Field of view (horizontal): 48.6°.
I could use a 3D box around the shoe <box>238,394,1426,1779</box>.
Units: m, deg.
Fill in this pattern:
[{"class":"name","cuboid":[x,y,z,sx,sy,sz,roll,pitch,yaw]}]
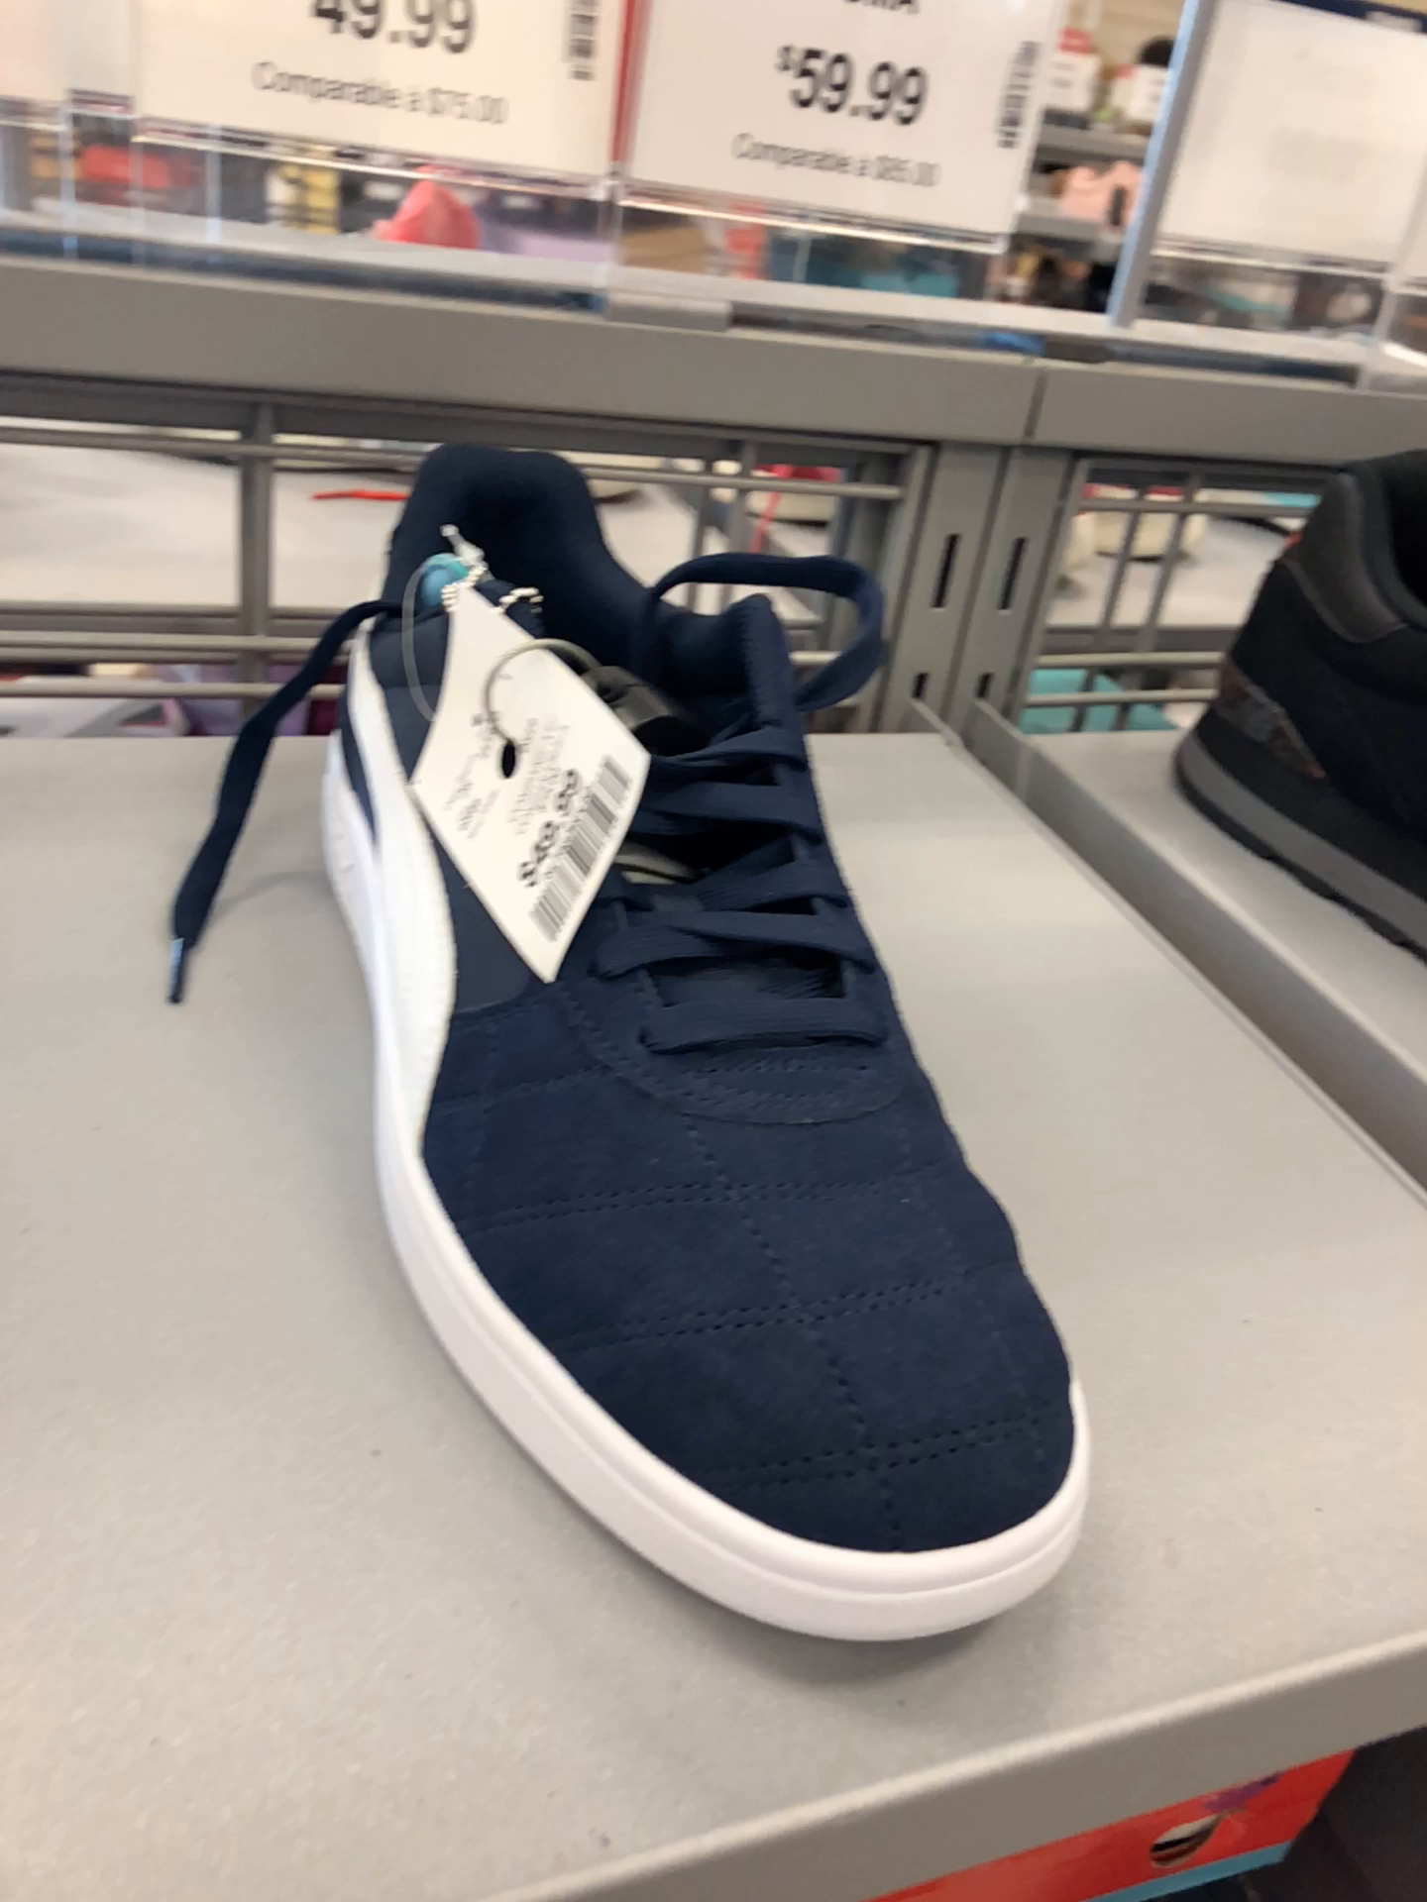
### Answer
[{"class":"shoe","cuboid":[-0.011,-0.009,0.294,0.119,0.119,0.242,-4,32,-23]}]
